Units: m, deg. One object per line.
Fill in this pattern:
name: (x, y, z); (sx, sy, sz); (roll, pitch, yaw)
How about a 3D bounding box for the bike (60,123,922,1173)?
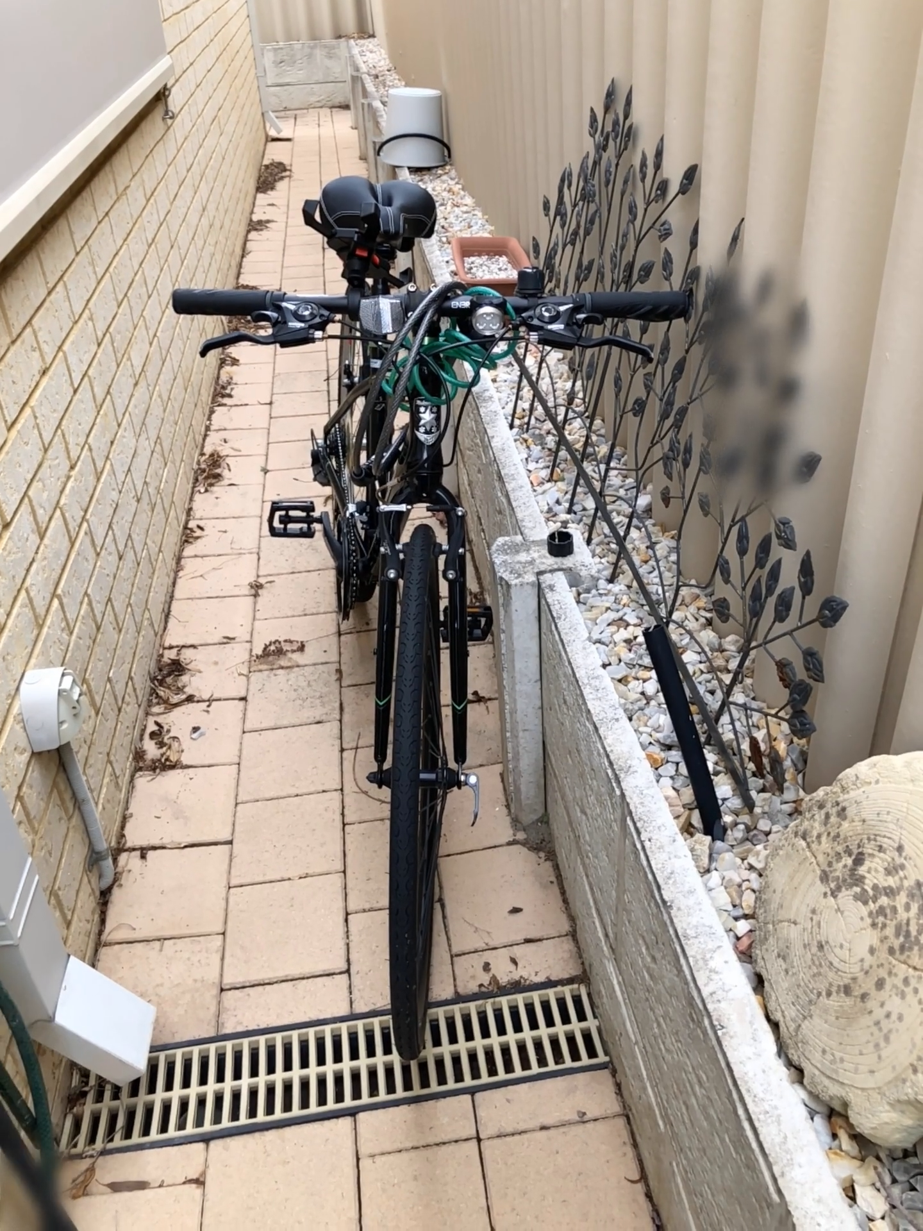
bike: (-0.060, -0.205, 1.683); (0.637, 0.859, 1.708); (-6, 34, -5)
